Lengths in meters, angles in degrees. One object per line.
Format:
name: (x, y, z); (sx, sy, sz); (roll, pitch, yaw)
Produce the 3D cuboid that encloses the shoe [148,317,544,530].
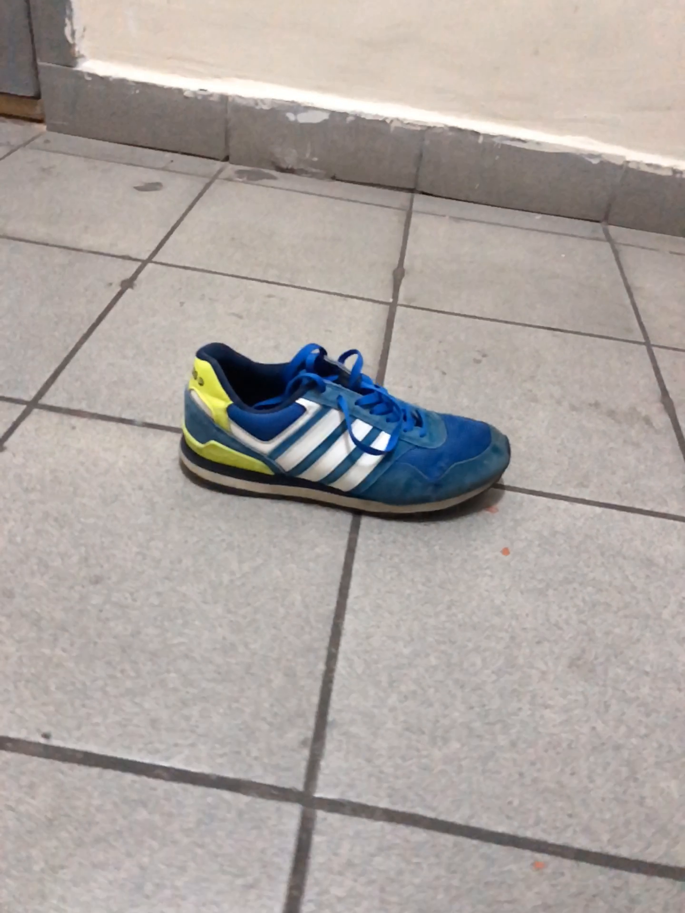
shoe: (0.000, -0.028, 0.622); (0.292, 0.099, 0.111); (6, 39, -3)
